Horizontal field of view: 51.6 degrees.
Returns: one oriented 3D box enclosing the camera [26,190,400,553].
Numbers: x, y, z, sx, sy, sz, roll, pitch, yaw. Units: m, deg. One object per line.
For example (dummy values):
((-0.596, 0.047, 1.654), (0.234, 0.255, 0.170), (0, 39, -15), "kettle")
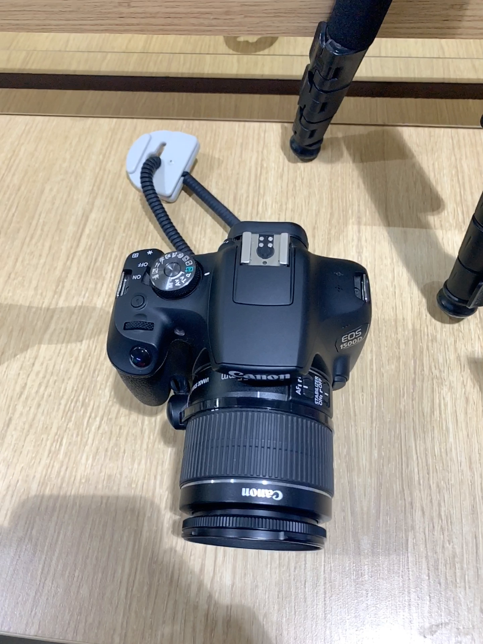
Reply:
((-0.004, 0.023, 0.234), (0.121, 0.088, 0.140), (2, 60, 4), "camera")
